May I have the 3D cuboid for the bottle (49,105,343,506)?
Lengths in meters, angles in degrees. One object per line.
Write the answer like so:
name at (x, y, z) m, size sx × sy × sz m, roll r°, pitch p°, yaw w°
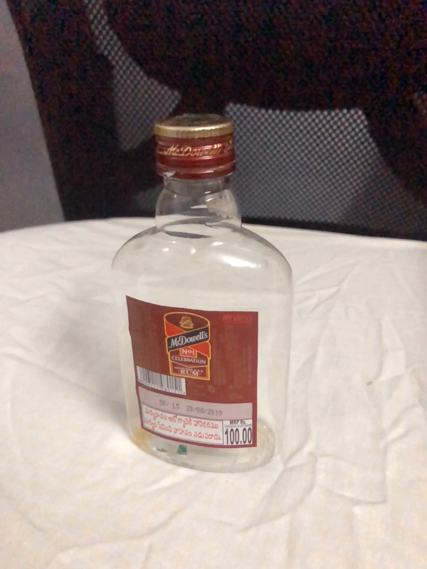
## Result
bottle at (-0.003, 0.012, 0.179) m, size 0.080 × 0.139 × 0.040 m, roll 8°, pitch 31°, yaw 12°
